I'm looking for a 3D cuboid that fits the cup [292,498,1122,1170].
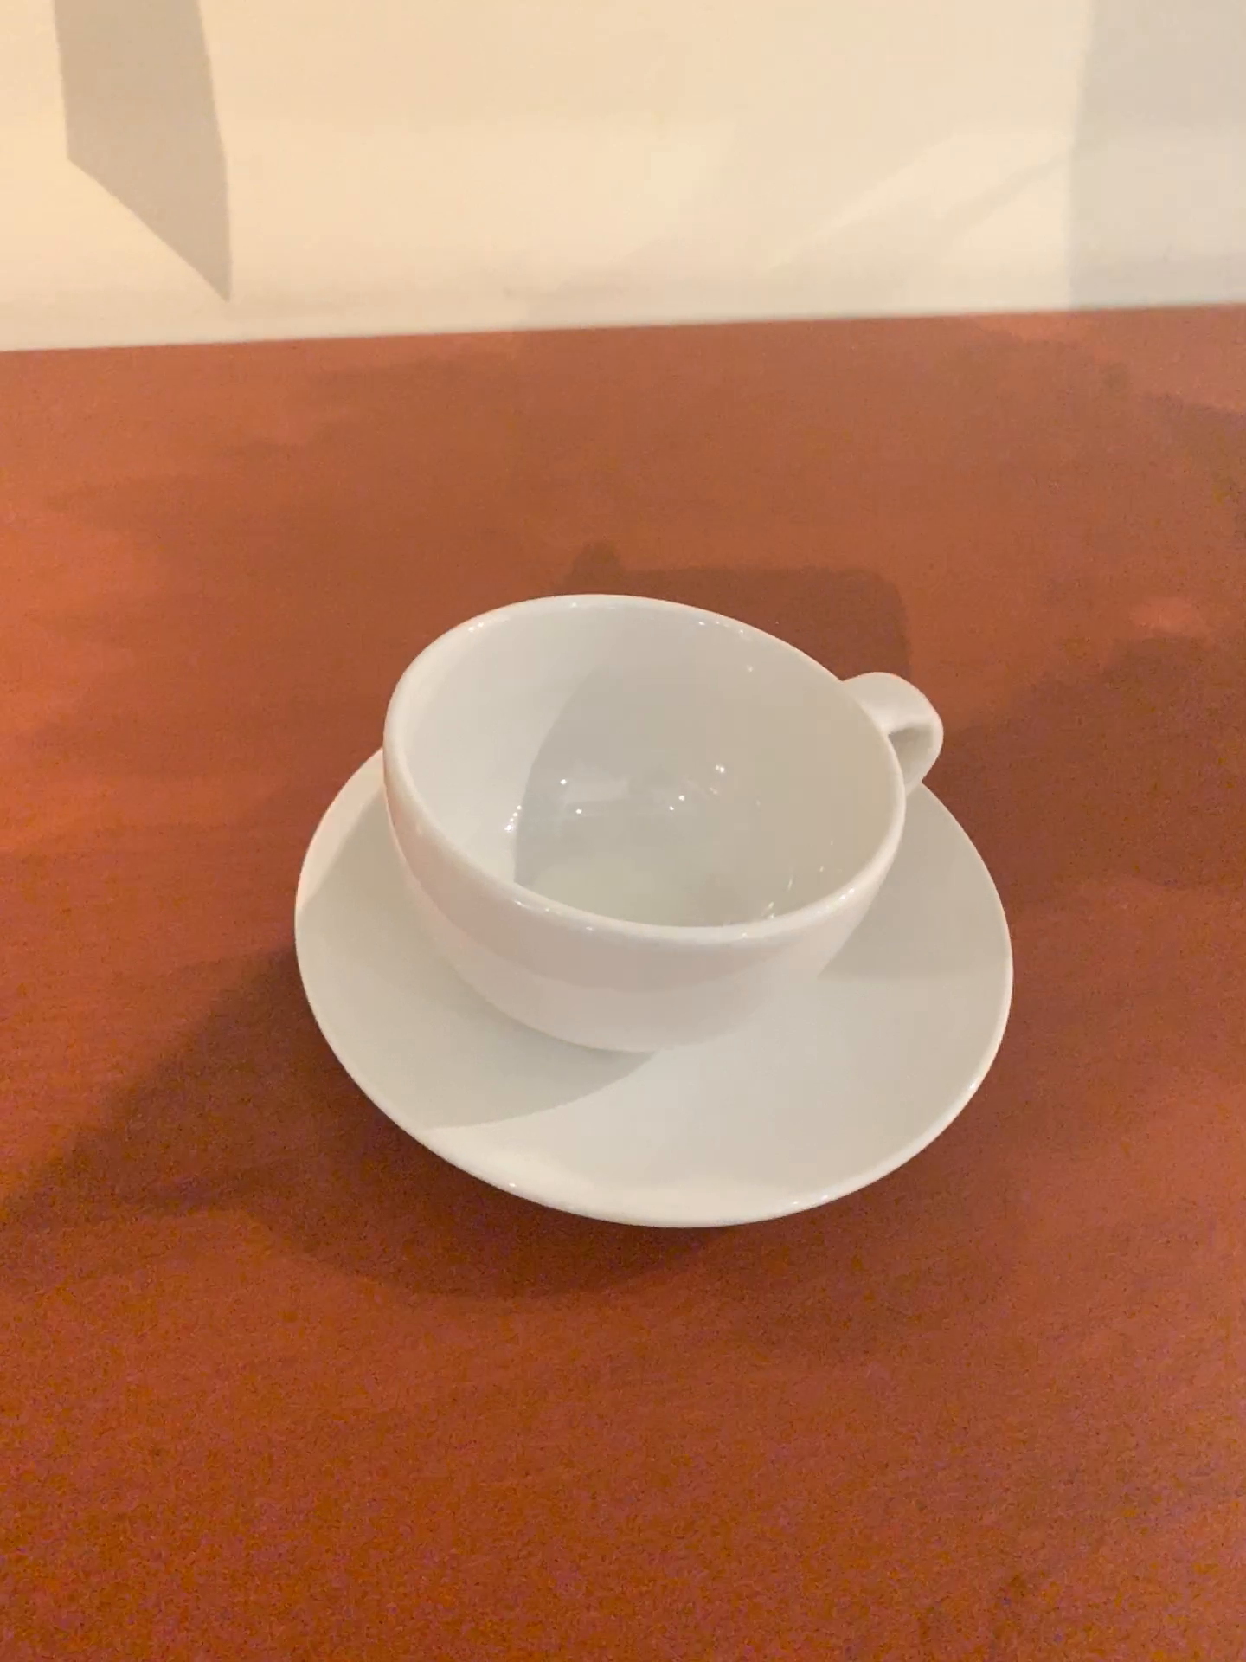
[{"bbox_3d":[0.010,-0.007,0.227,0.110,0.050,0.080,-17,50,-23],"label":"cup"}]
